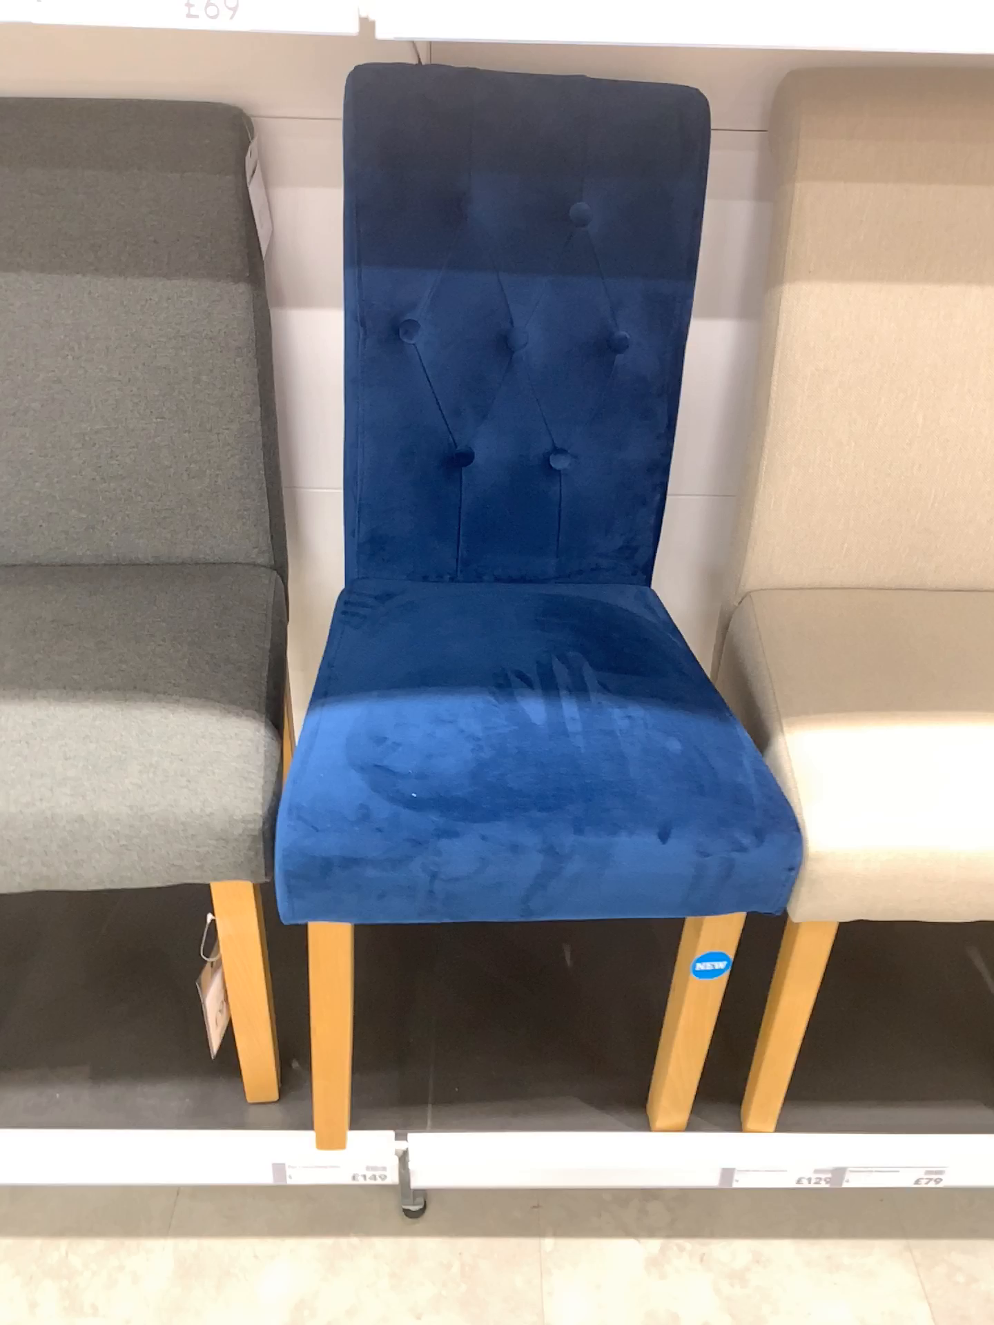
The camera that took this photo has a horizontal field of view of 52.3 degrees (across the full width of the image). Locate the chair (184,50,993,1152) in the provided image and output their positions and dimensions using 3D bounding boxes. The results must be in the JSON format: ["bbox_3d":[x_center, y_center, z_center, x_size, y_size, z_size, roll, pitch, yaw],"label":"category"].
[{"bbox_3d":[0.019,-0.033,0.999,0.432,0.929,0.524,1,34,-4],"label":"chair"}]

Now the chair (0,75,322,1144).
[{"bbox_3d":[-0.423,-0.066,1.055,0.413,0.890,0.625,-1,33,-7],"label":"chair"}]
